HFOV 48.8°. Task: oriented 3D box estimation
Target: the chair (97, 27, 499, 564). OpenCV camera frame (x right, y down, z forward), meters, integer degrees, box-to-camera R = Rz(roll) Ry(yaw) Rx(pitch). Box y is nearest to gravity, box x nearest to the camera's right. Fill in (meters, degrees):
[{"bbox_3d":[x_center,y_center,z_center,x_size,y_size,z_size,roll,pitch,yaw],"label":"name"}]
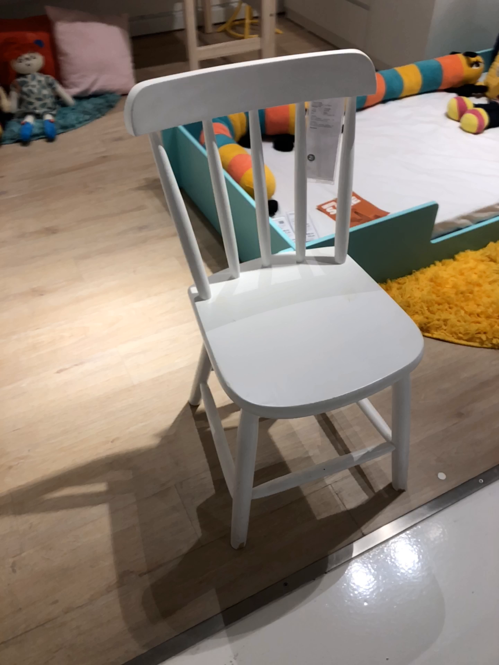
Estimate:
[{"bbox_3d":[0.068,-0.032,0.966,0.441,0.754,0.433,-16,47,-14],"label":"chair"}]
